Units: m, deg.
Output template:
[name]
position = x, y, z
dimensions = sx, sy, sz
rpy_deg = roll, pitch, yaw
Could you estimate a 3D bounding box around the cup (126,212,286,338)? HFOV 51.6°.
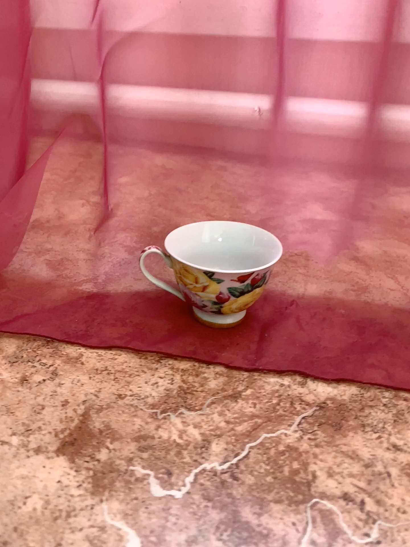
[cup]
position = 0.002, -0.002, 0.337
dimensions = 0.109, 0.060, 0.079
rpy_deg = 5, 29, 3
